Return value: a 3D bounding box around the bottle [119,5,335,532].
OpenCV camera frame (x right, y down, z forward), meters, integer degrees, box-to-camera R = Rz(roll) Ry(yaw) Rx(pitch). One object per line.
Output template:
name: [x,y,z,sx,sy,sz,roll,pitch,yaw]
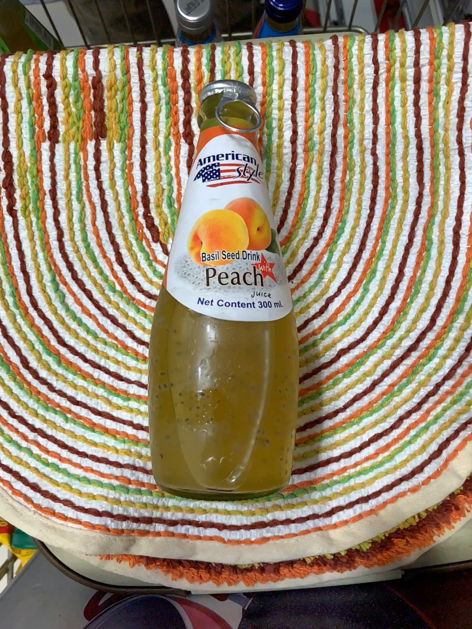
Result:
bottle: [-0.005,-0.019,0.216,0.070,0.060,0.200,6,76,-18]
